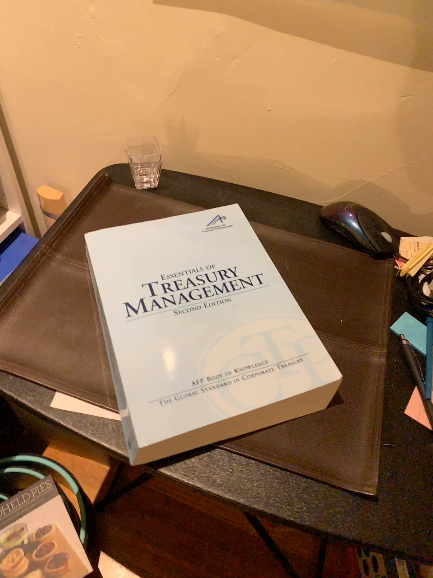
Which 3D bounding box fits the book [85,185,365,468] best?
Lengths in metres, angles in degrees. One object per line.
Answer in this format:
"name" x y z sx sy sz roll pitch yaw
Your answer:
"book" -0.011 0.014 0.512 0.220 0.060 0.301 -13 53 -15
